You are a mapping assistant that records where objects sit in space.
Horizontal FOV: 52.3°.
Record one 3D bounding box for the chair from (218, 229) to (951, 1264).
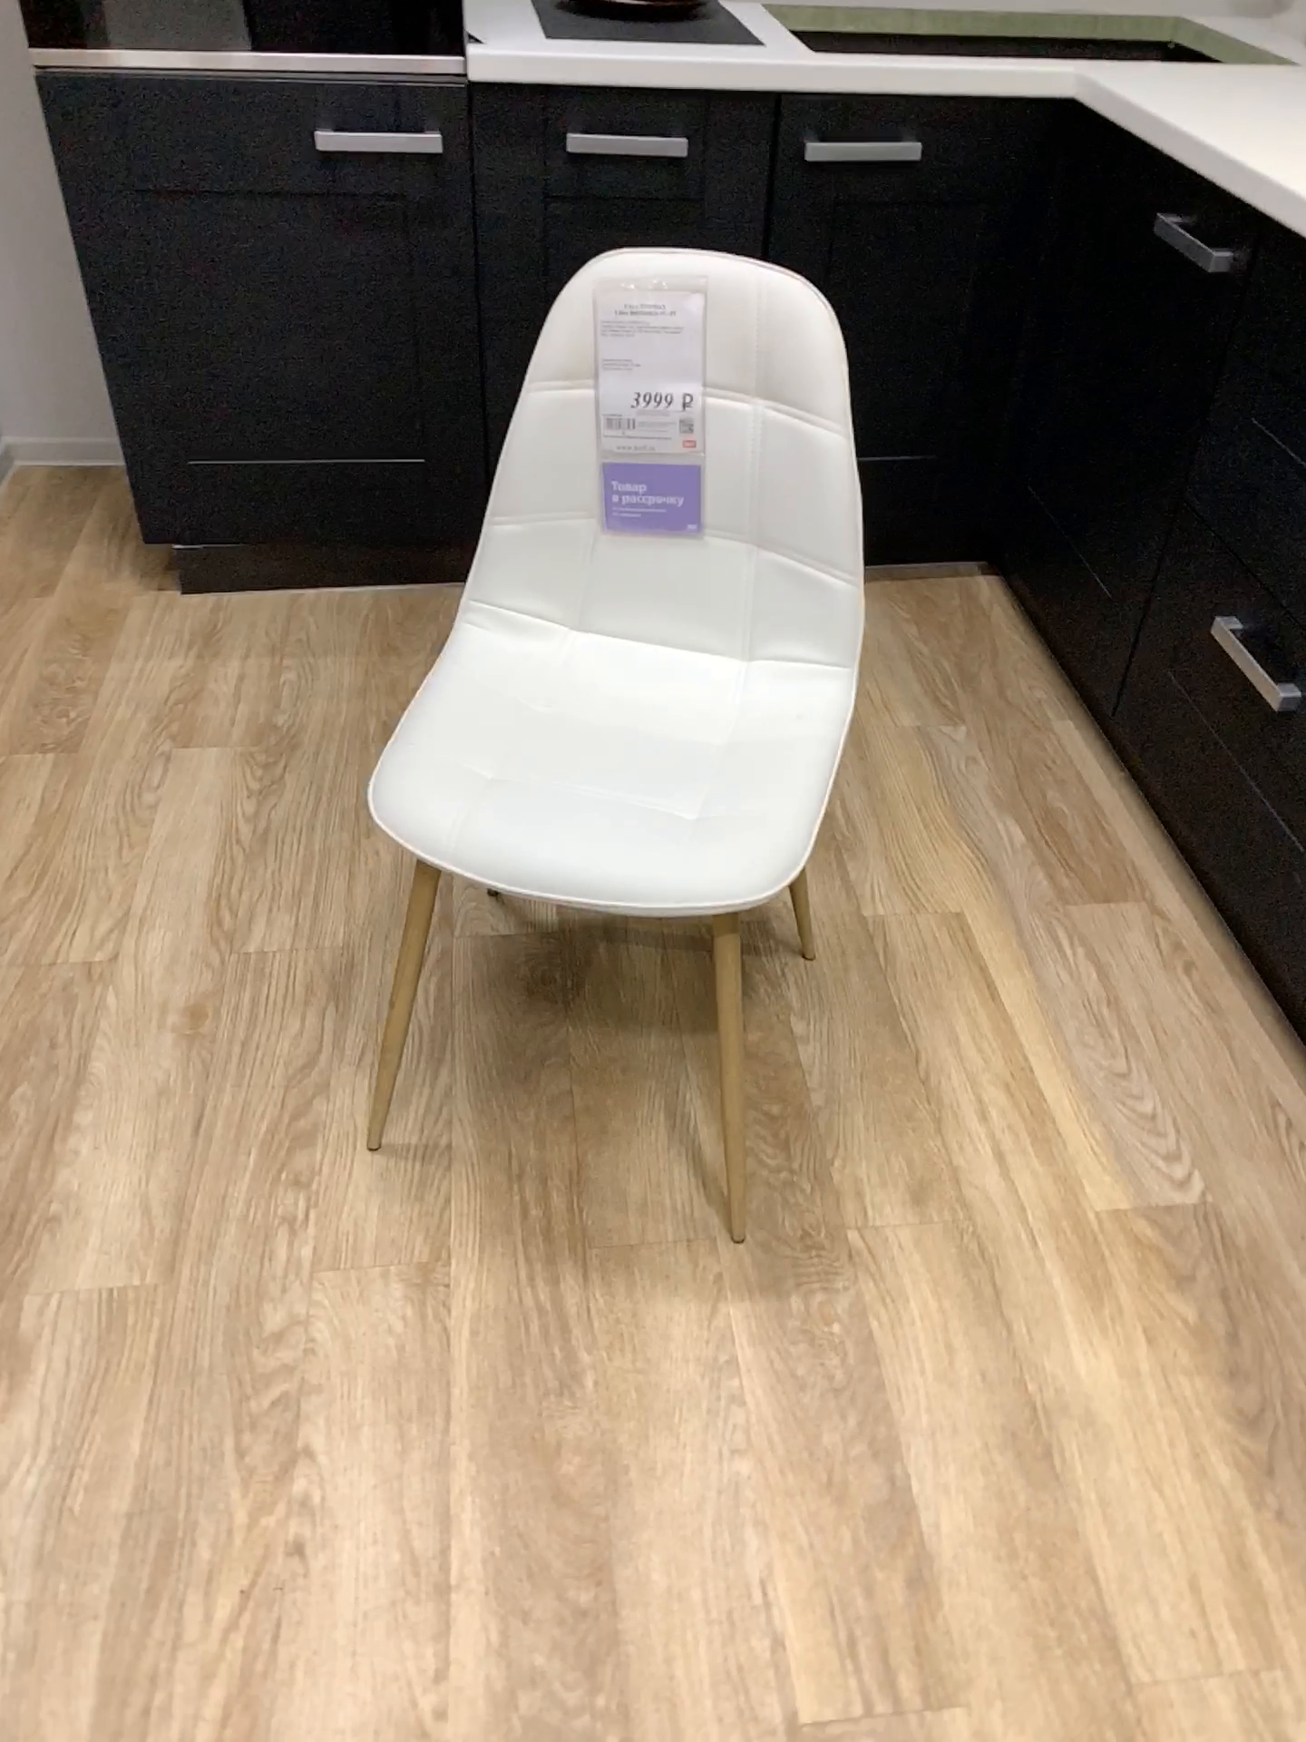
[{"bbox_3d":[-0.026,-0.124,1.386,0.470,0.825,0.573,11,41,10],"label":"chair"}]
